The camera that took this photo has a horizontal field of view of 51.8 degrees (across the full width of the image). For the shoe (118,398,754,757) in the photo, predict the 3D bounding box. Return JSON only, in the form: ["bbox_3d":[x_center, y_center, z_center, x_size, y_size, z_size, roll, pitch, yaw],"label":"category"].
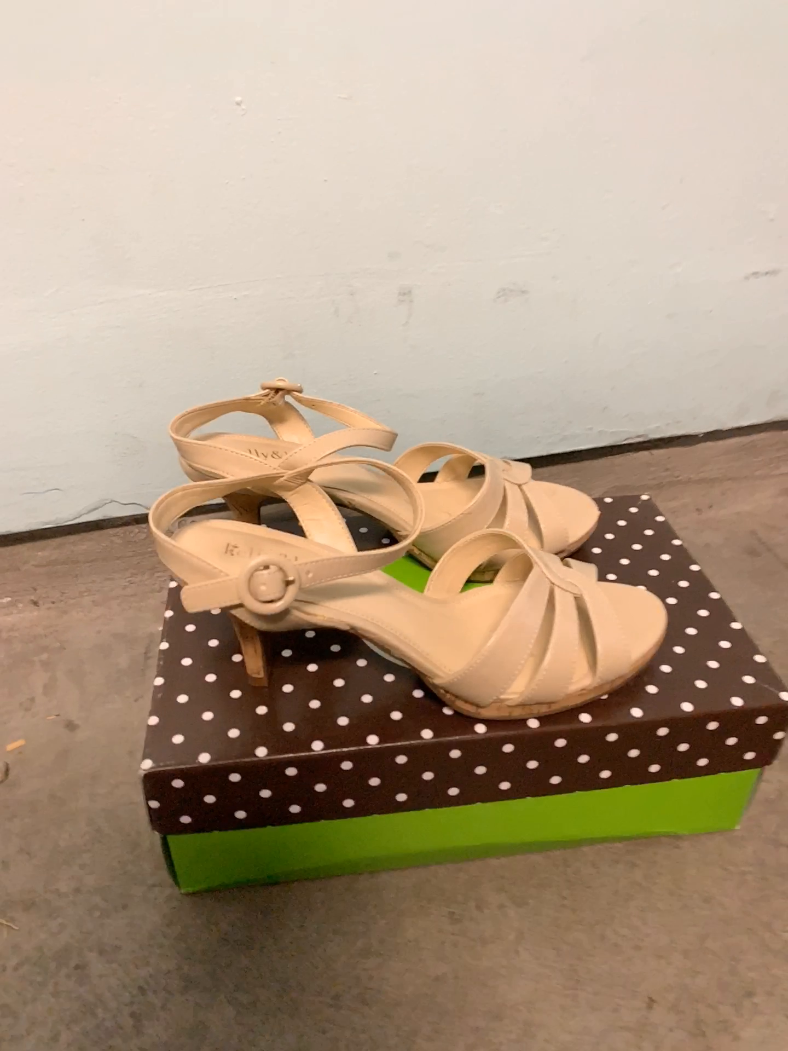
[{"bbox_3d":[0.015,0.019,0.375,0.240,0.109,0.101,-4,33,-5],"label":"shoe"}]

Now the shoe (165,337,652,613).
[{"bbox_3d":[0.005,-0.033,0.469,0.240,0.109,0.101,-4,33,-5],"label":"shoe"}]
